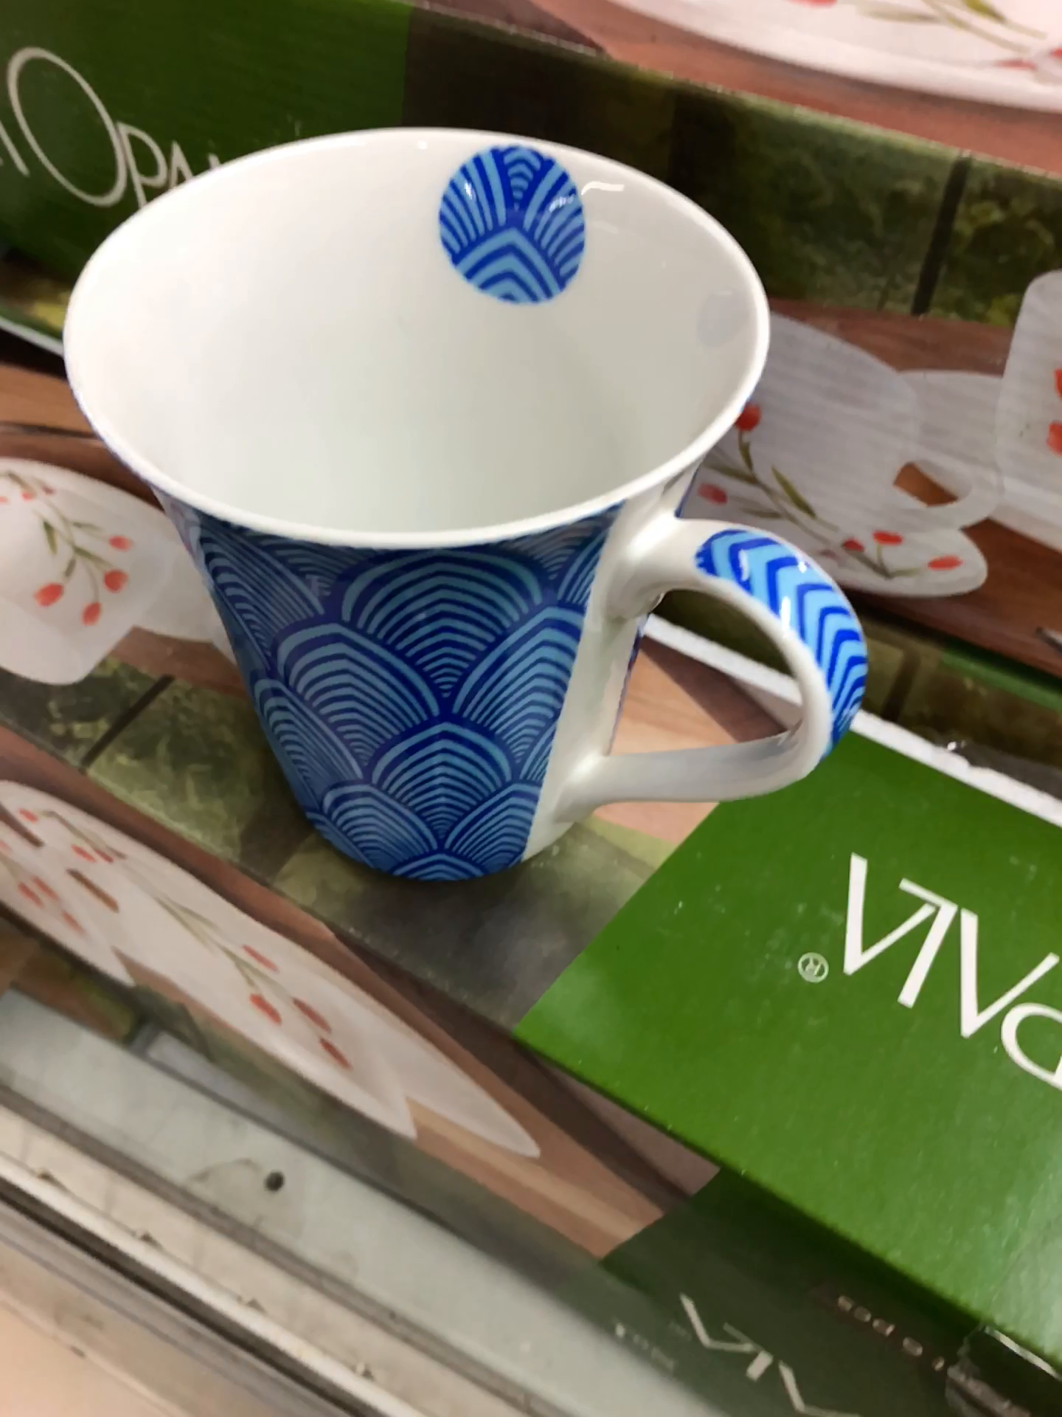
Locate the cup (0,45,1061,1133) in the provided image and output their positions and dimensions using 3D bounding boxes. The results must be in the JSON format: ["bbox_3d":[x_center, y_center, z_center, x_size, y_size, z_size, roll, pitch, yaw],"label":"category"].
[{"bbox_3d":[0.002,-0.016,0.179,0.110,0.099,0.080,30,62,21],"label":"cup"}]
